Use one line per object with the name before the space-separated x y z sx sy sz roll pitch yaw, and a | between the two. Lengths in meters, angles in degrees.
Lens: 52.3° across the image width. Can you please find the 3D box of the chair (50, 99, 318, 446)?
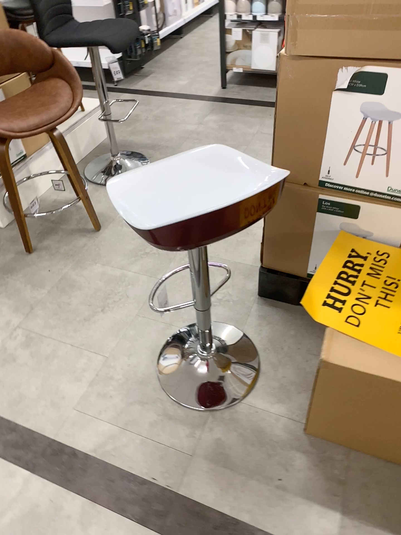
chair | -0.033 0.031 1.197 0.444 0.797 0.455 -25 46 -21

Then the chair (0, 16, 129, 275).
chair | -0.845 -0.590 1.974 0.525 0.926 0.646 29 52 32
